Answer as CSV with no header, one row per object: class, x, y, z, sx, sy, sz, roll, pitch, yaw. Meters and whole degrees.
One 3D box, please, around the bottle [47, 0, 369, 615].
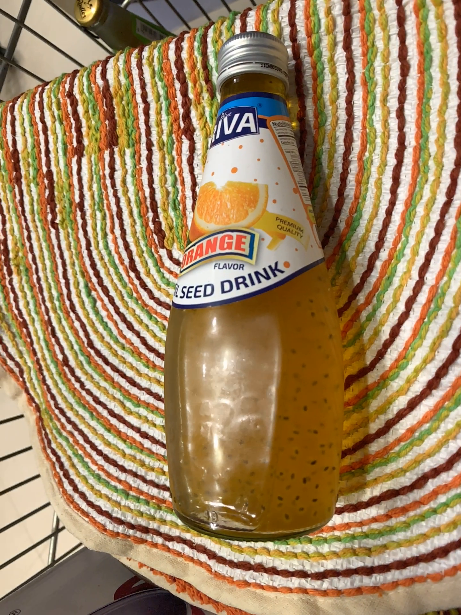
bottle,-0.003,0.001,0.157,0.070,0.050,0.160,-3,98,32
